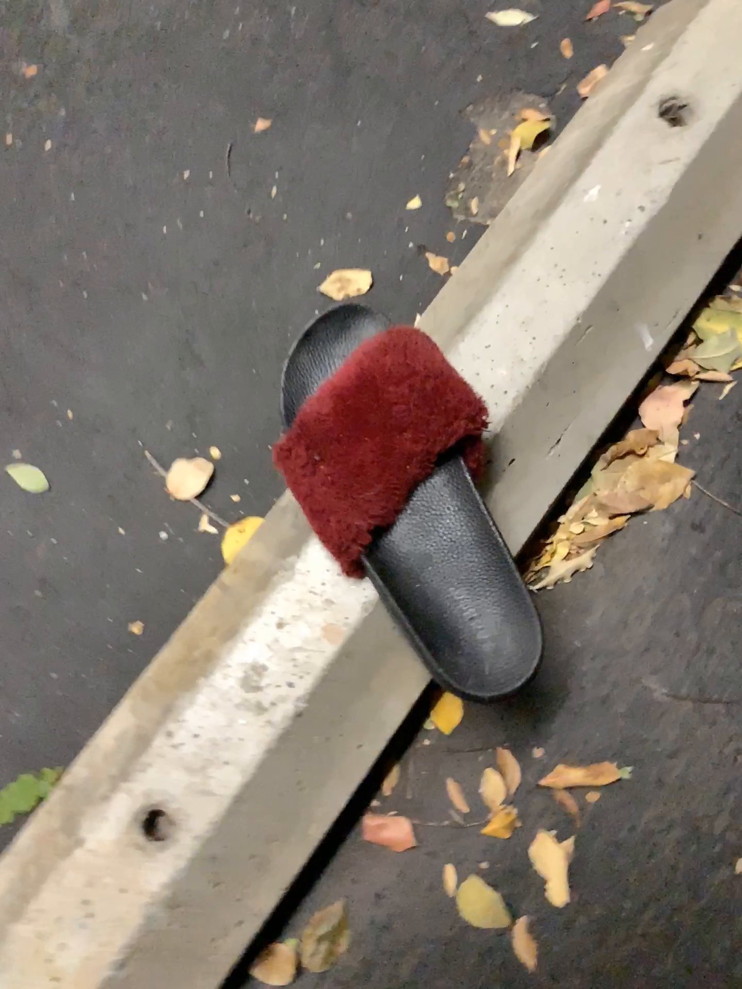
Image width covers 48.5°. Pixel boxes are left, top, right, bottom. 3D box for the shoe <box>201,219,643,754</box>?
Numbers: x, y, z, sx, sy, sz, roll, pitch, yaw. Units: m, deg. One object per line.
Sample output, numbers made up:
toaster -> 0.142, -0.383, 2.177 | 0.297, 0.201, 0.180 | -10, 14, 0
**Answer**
shoe -> 0.023, -0.011, 0.490 | 0.140, 0.050, 0.280 | -25, 77, -4
